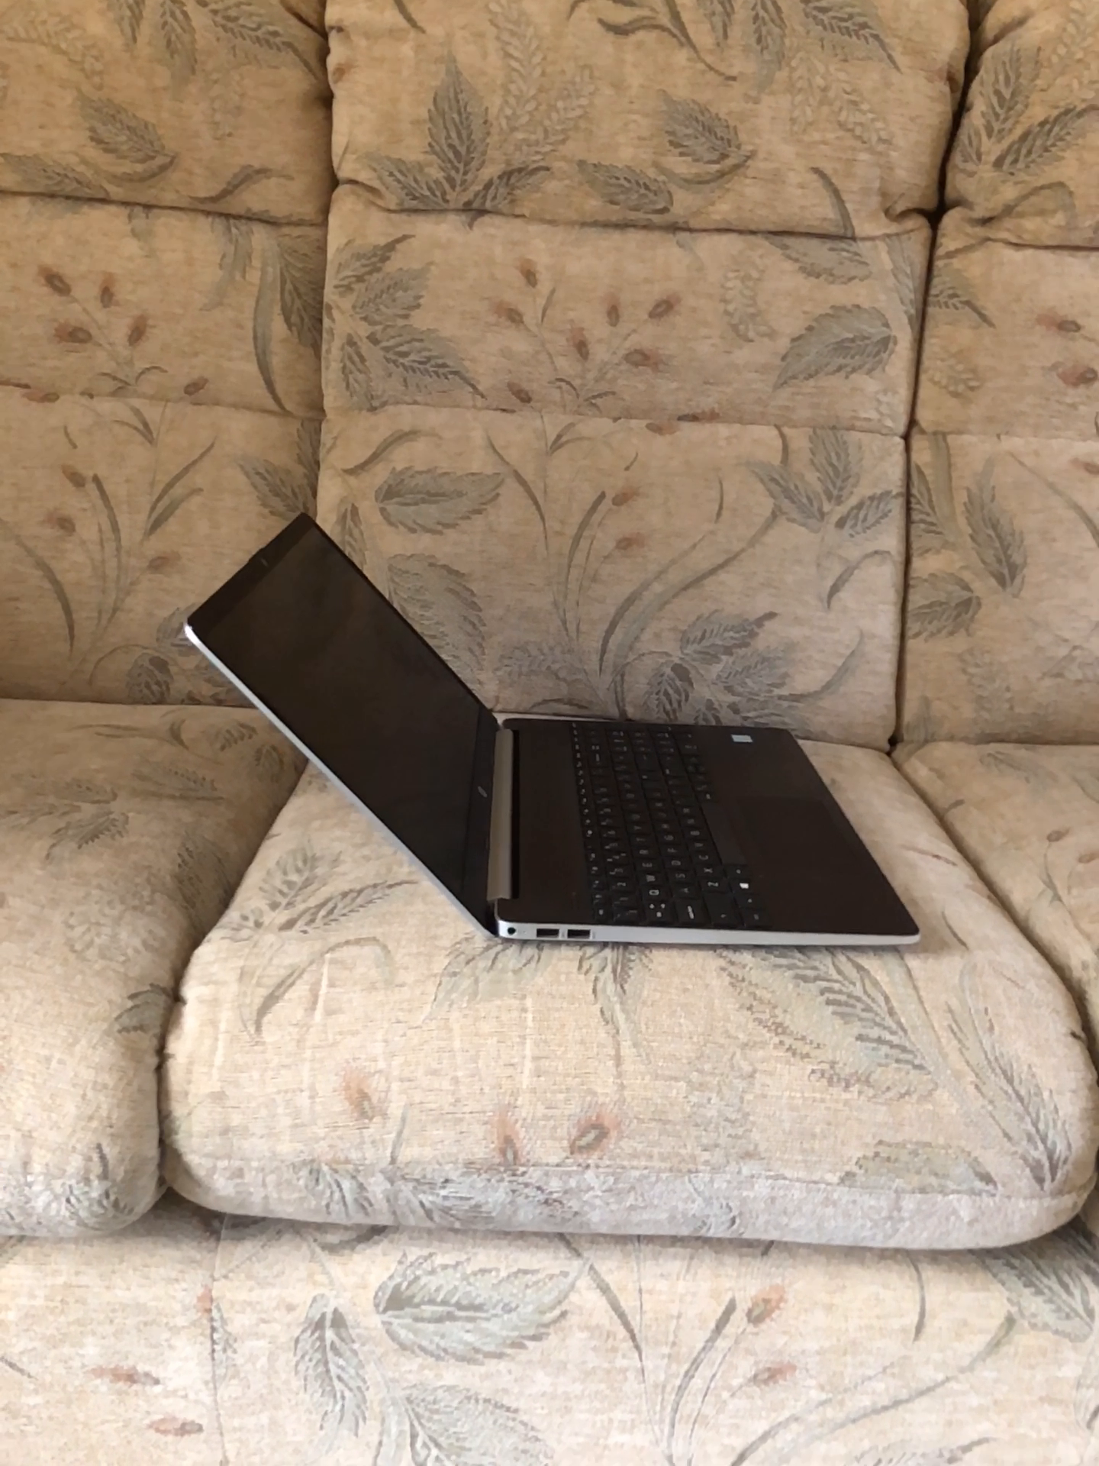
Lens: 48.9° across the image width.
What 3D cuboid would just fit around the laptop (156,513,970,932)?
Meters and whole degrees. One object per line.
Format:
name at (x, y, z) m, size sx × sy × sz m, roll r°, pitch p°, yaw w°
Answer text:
laptop at (0.006, -0.026, 0.785) m, size 0.397 × 0.163 × 0.340 m, roll 2°, pitch 21°, yaw -3°
